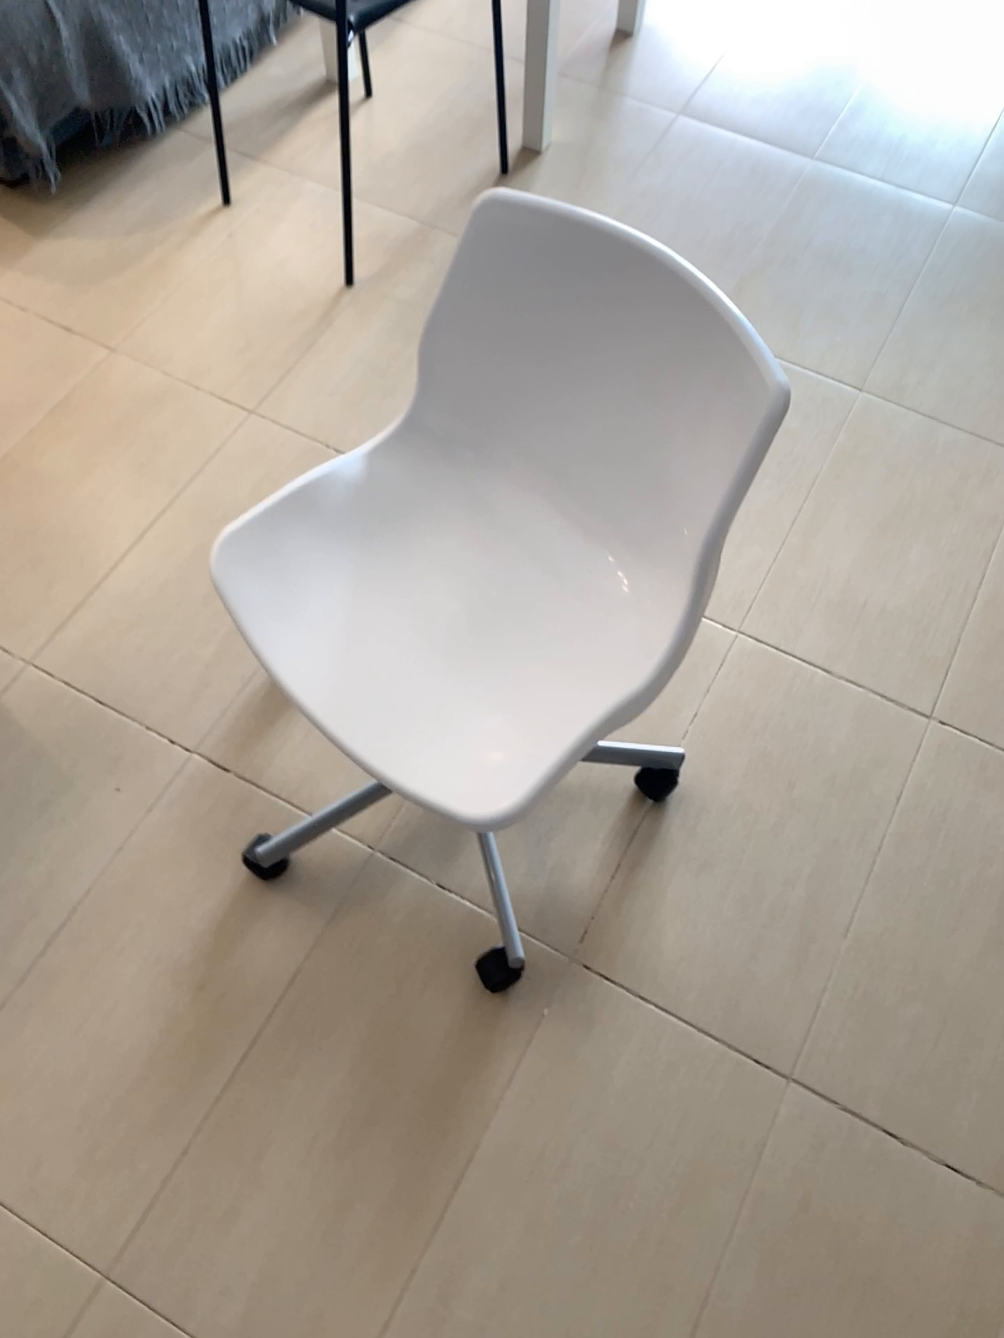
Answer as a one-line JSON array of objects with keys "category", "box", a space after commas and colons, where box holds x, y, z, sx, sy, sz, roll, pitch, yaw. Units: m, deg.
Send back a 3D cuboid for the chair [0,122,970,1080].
[{"category": "chair", "box": [-0.028, -0.067, 1.288, 0.642, 0.647, 0.780, 39, 67, 18]}]
